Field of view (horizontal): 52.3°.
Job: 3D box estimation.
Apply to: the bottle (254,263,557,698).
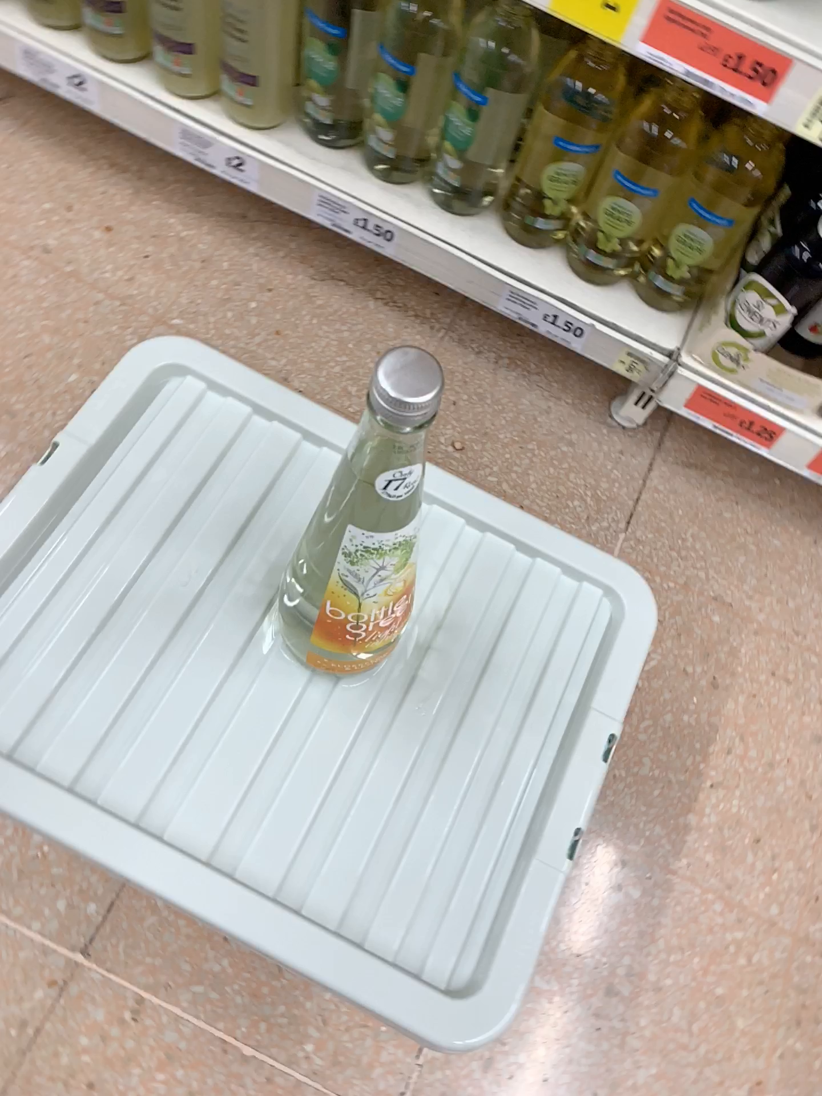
[{"bbox_3d":[-0.027,-0.010,0.453,0.090,0.289,0.090,4,66,-9],"label":"bottle"}]
